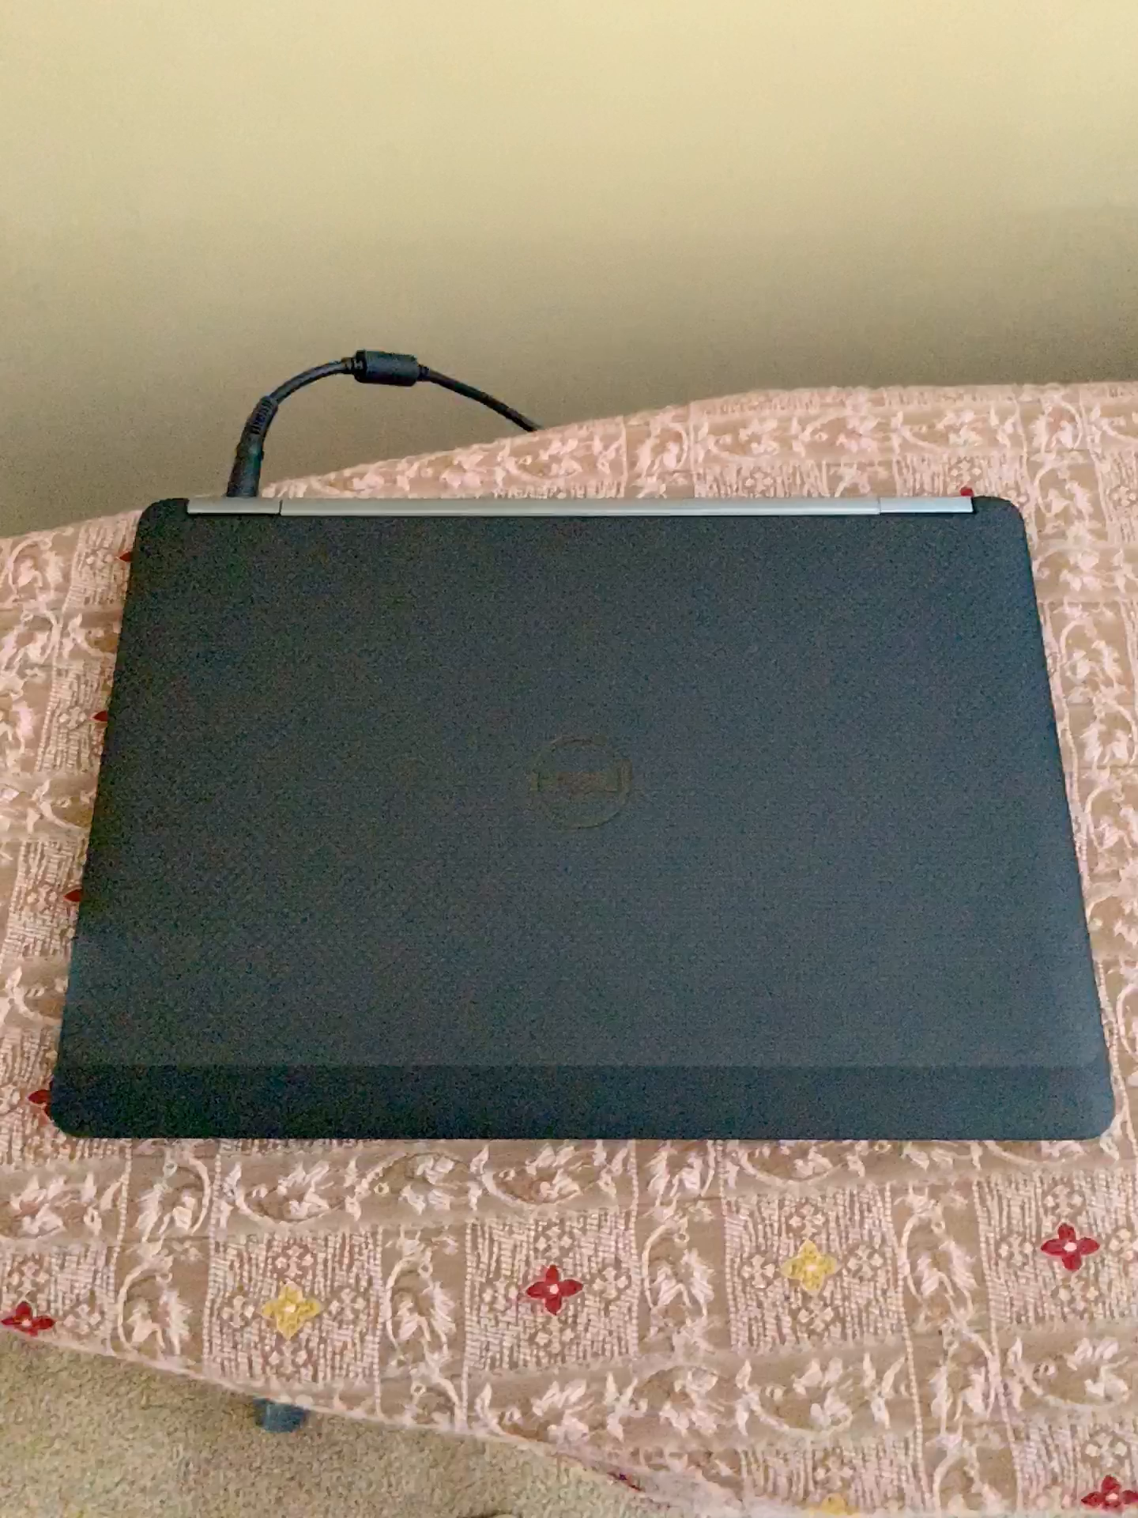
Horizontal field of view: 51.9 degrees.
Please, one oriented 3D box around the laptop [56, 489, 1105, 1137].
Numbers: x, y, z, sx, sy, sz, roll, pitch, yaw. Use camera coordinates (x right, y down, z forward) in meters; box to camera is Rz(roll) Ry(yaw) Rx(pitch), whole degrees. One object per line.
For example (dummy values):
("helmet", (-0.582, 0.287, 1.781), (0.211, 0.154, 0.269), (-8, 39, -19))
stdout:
("laptop", (0.000, 0.011, 0.366), (0.294, 0.017, 0.197), (-1, 72, 5))
